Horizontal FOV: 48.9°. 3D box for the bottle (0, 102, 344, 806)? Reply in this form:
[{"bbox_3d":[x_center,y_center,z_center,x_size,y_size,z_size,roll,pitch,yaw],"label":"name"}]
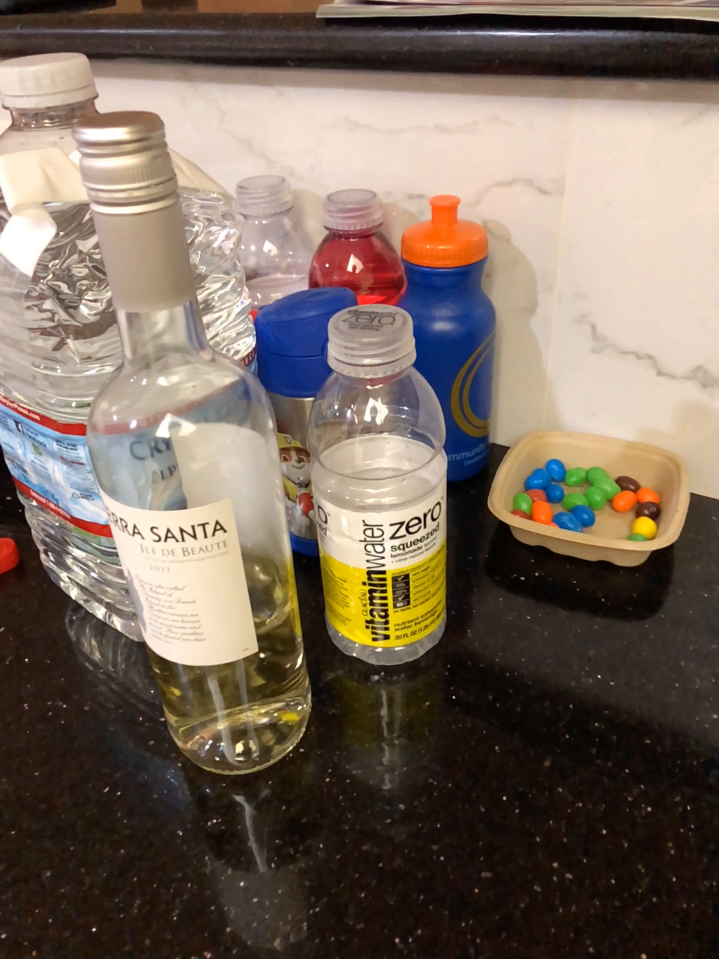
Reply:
[{"bbox_3d":[-0.062,0.006,0.311,0.070,0.268,0.070,-2,35,2],"label":"bottle"}]

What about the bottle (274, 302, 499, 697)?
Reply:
[{"bbox_3d":[0.012,0.012,0.369,0.070,0.159,0.070,-2,35,2],"label":"bottle"}]

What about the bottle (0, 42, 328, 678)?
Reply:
[{"bbox_3d":[-0.121,-0.063,0.420,0.130,0.278,0.141,-2,35,2],"label":"bottle"}]
